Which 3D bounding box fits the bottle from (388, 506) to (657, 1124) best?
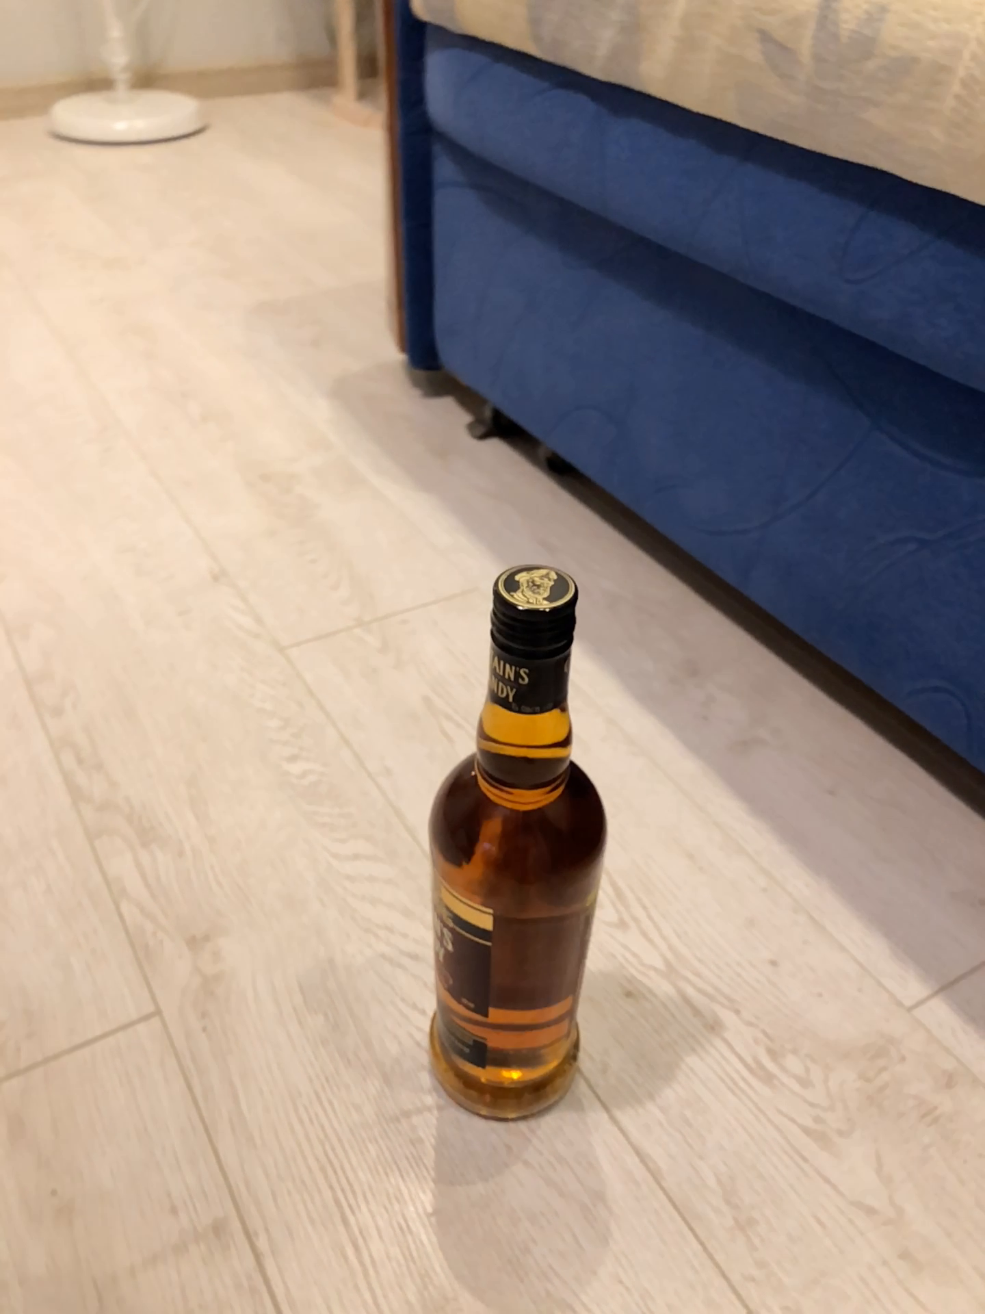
[{"bbox_3d":[0.007,0.075,0.433,0.080,0.257,0.081,1,37,-1],"label":"bottle"}]
